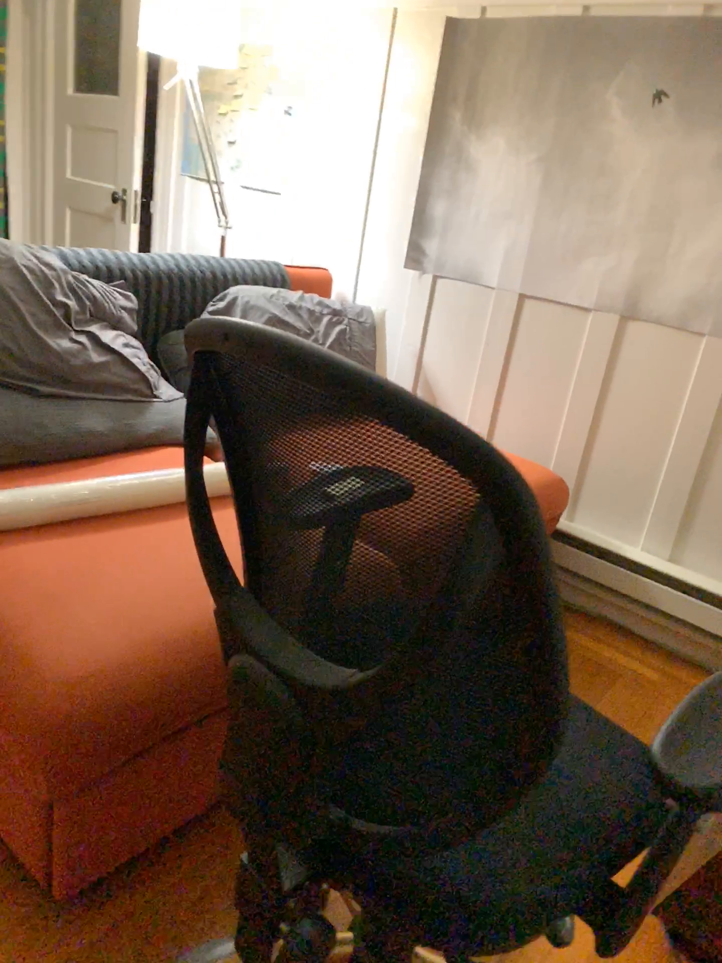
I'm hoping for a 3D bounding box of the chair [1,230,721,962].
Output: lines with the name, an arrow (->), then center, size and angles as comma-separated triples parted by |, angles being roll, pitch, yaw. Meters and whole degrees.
chair -> 0.055, 0.250, 0.909 | 0.661, 0.975, 0.642 | -14, 31, -38
